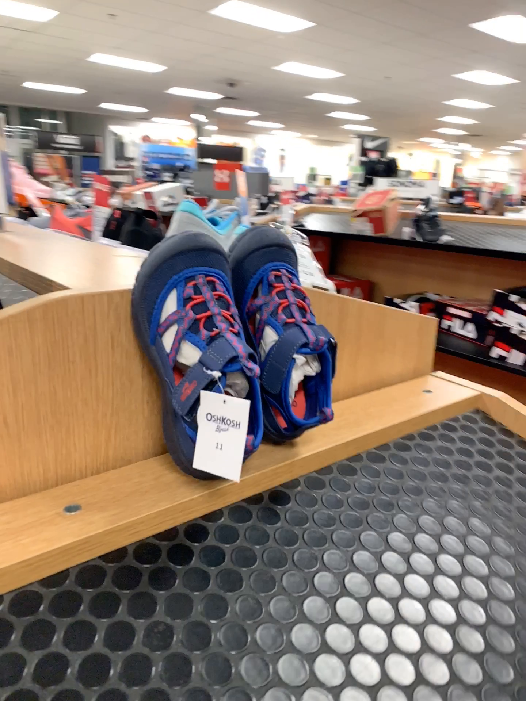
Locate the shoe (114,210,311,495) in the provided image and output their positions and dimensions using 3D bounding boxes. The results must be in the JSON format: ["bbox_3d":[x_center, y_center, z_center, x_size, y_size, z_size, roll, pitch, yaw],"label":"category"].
[{"bbox_3d":[-0.043,0.000,0.417,0.080,0.190,0.100,-10,-1,-35],"label":"shoe"}]

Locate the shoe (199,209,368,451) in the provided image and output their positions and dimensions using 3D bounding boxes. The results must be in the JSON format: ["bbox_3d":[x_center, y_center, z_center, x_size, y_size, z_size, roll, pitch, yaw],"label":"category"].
[{"bbox_3d":[0.017,-0.018,0.471,0.080,0.190,0.080,-11,0,-37],"label":"shoe"}]
